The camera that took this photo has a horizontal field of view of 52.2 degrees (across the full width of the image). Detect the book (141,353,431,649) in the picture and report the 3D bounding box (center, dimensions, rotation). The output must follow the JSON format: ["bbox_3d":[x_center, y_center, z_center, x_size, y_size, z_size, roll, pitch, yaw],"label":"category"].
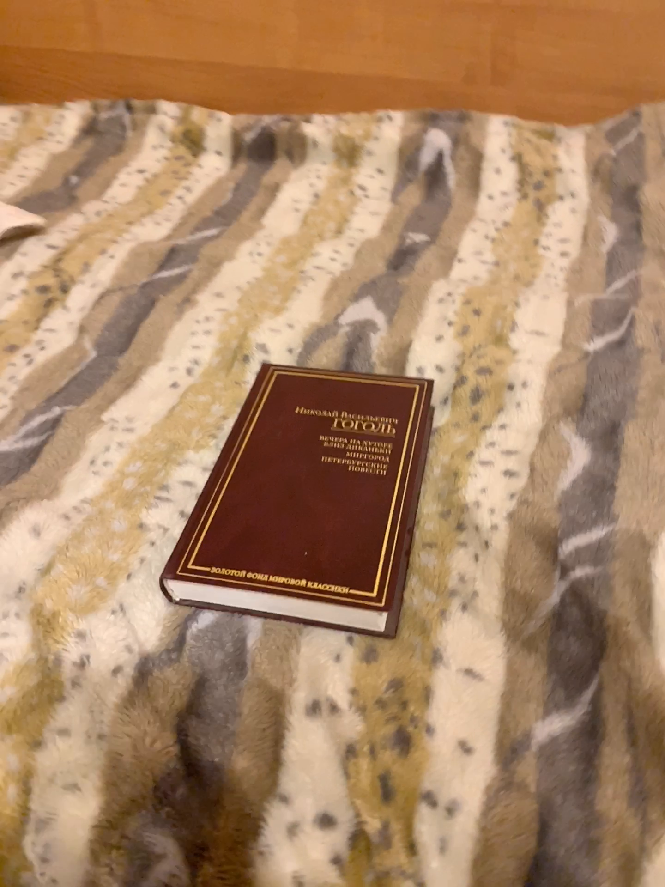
[{"bbox_3d":[-0.018,0.025,0.475,0.149,0.040,0.212,6,47,11],"label":"book"}]
